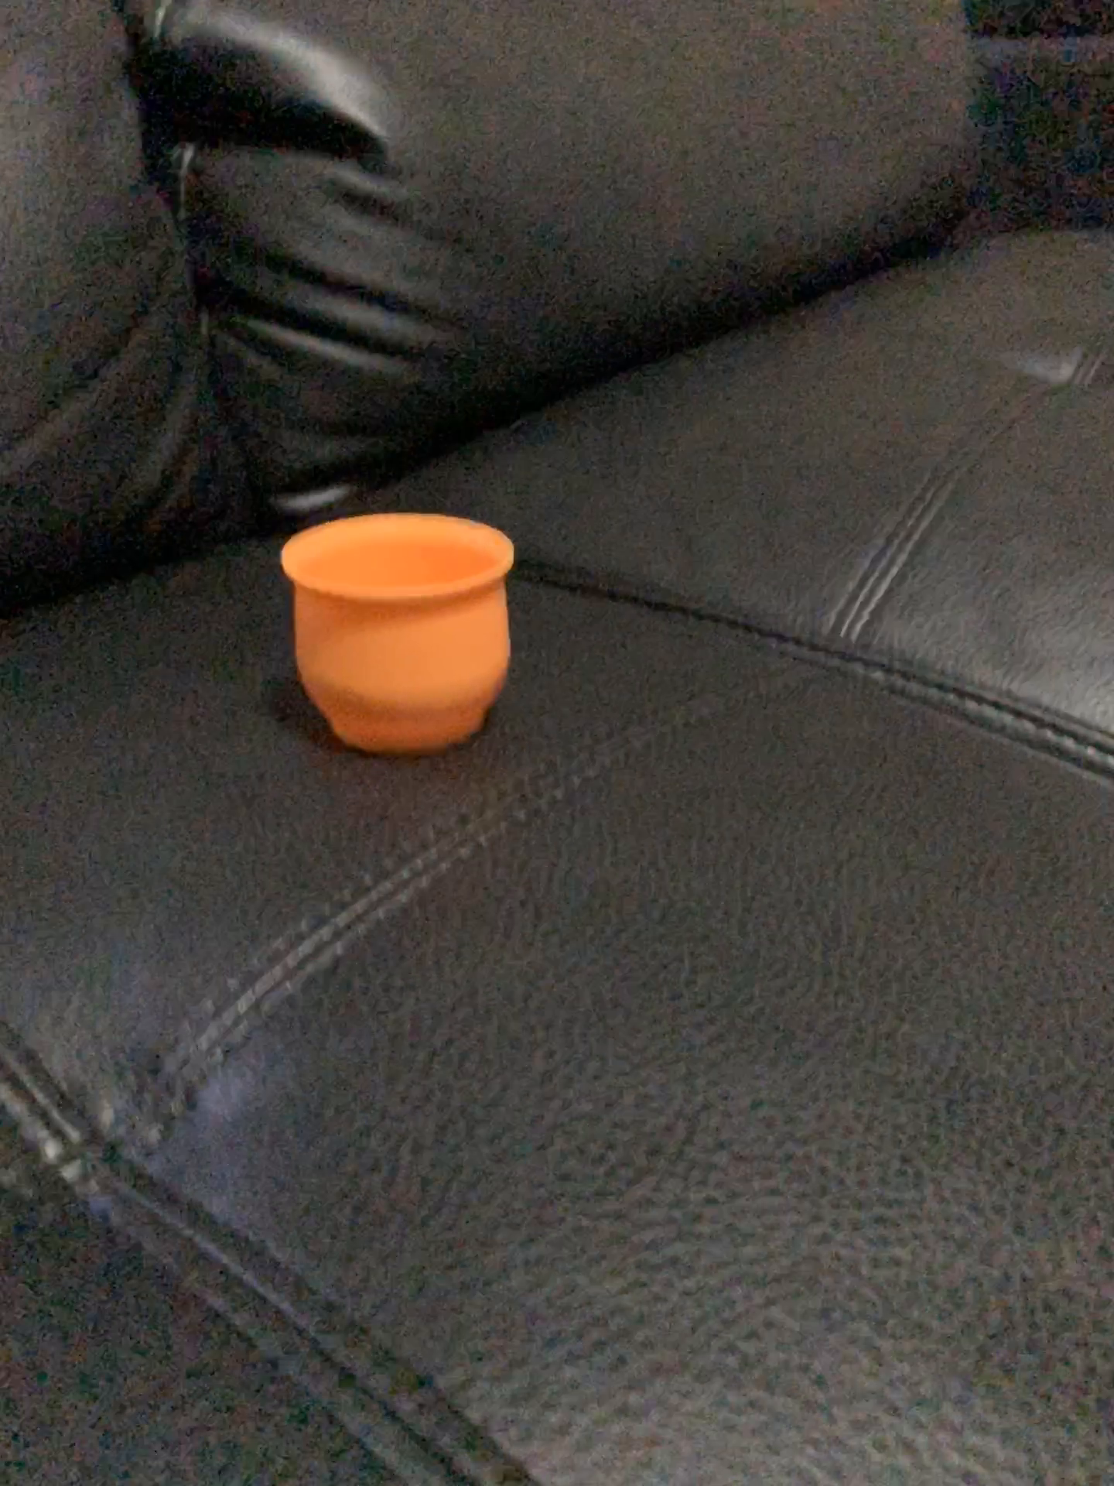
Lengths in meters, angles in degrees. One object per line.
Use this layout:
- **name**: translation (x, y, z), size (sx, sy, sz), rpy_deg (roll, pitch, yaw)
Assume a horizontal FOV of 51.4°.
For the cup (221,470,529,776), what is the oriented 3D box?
- **cup**: translation (-0.043, -0.035, 0.305), size (0.063, 0.046, 0.081), rpy_deg (4, 30, 2)
